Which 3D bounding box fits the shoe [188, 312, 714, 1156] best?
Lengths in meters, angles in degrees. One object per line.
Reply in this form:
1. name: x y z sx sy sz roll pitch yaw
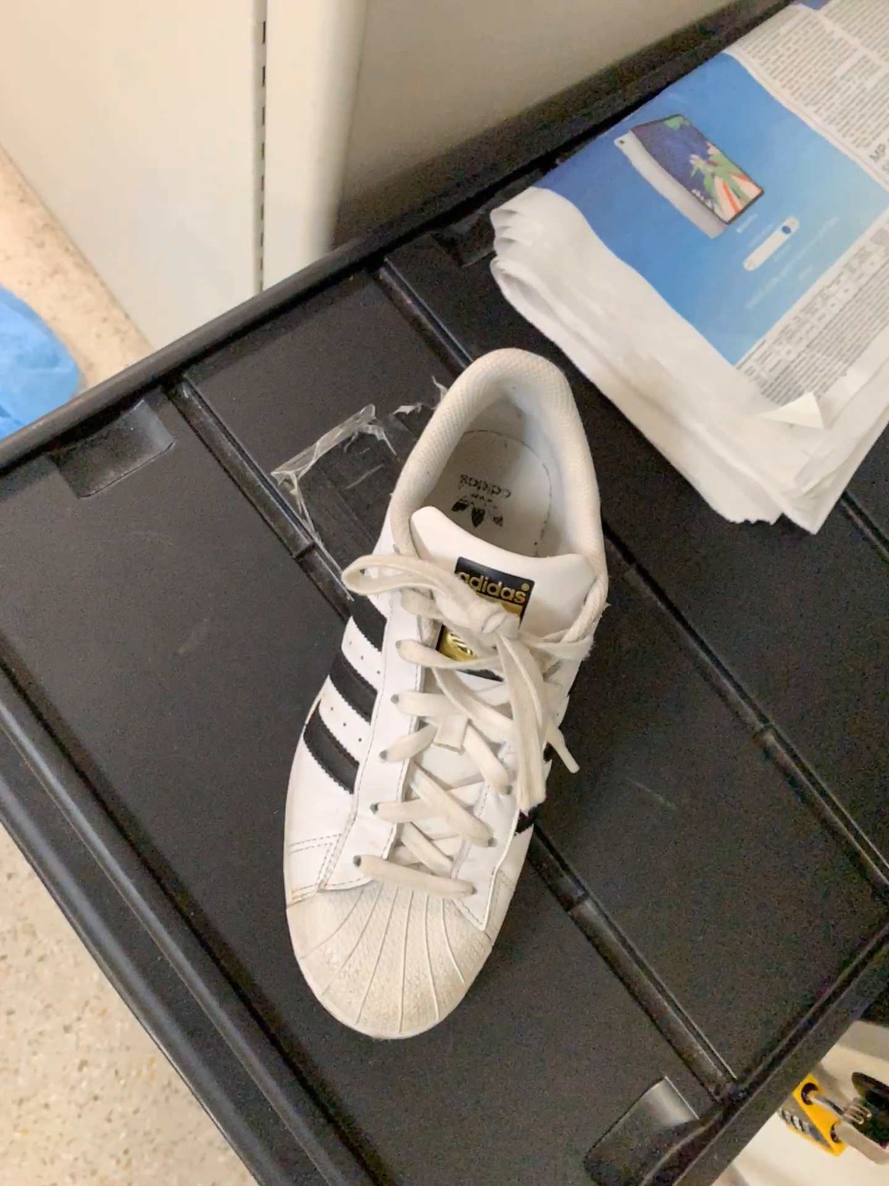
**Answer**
1. shoe: 0.004 0.042 0.333 0.103 0.092 0.242 18 78 -6
